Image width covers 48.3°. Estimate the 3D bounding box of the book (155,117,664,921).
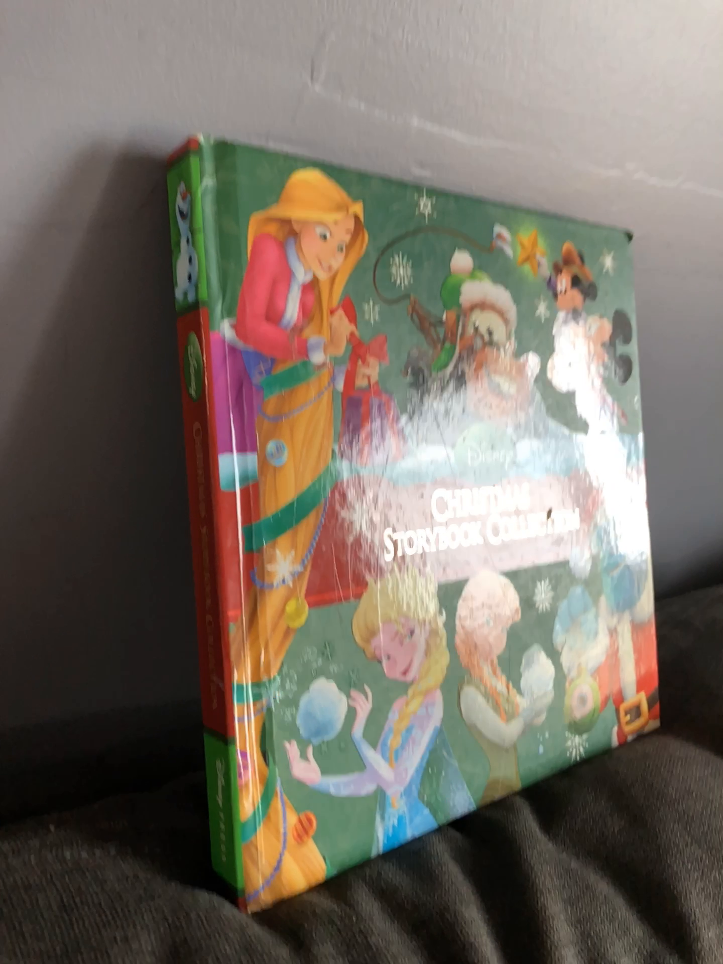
[{"bbox_3d":[0.039,0.005,0.322,0.227,0.238,0.033,-5,3,-39],"label":"book"}]
